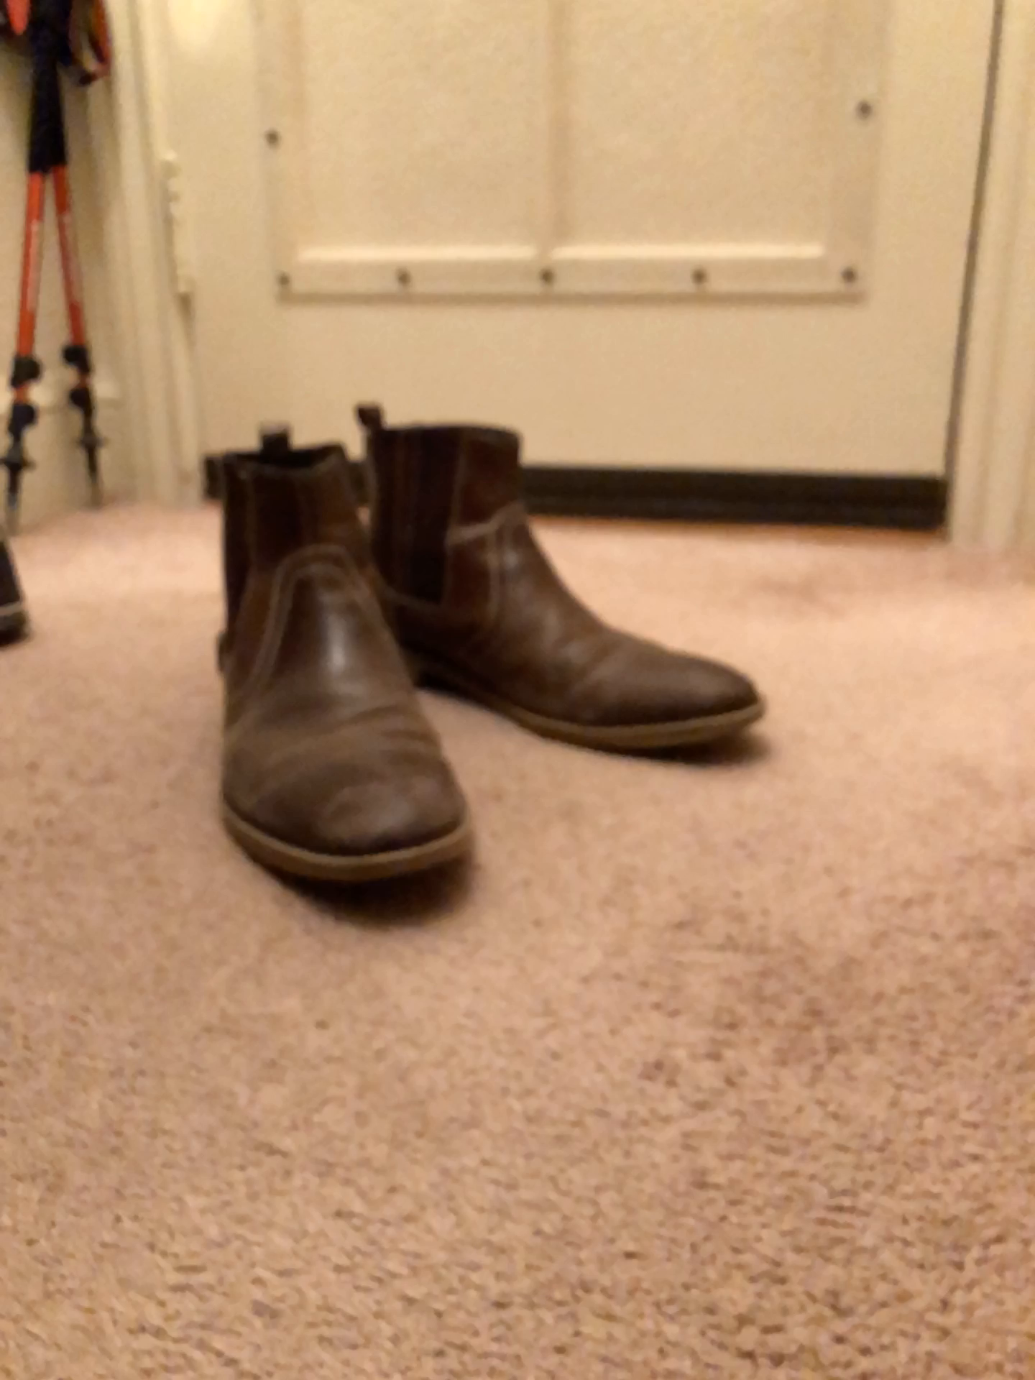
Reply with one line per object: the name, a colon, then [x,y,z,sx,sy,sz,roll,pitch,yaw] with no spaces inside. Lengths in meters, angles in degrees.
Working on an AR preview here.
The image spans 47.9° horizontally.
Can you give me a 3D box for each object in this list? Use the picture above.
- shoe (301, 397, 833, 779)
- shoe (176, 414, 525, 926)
shoe: [0.016,-0.079,0.688,0.298,0.158,0.119,17,25,41]
shoe: [-0.096,-0.038,0.572,0.119,0.158,0.299,-6,20,-15]
